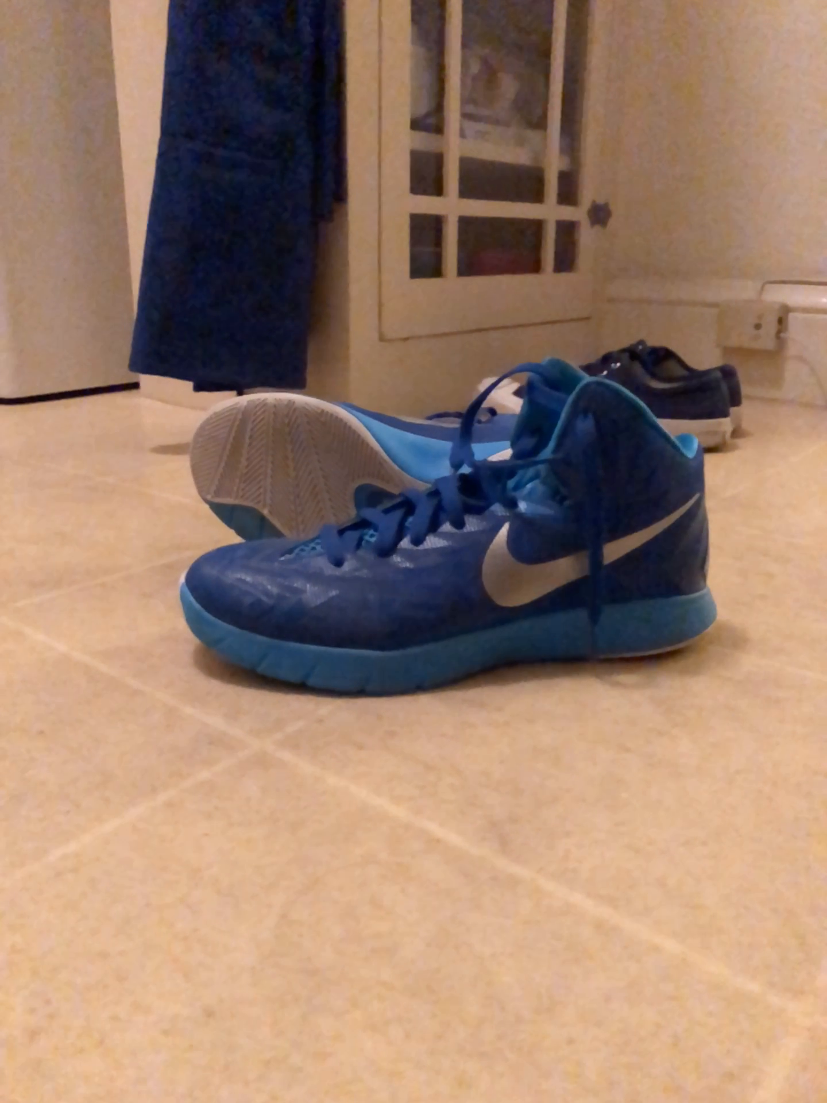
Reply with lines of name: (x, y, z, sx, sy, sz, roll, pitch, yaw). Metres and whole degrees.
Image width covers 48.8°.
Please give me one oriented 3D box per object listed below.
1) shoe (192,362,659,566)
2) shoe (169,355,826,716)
shoe: (0.007, -0.069, 0.640, 0.281, 0.120, 0.160, 1, 13, 1)
shoe: (0.039, -0.021, 0.480, 0.310, 0.144, 0.120, -3, 18, -11)
